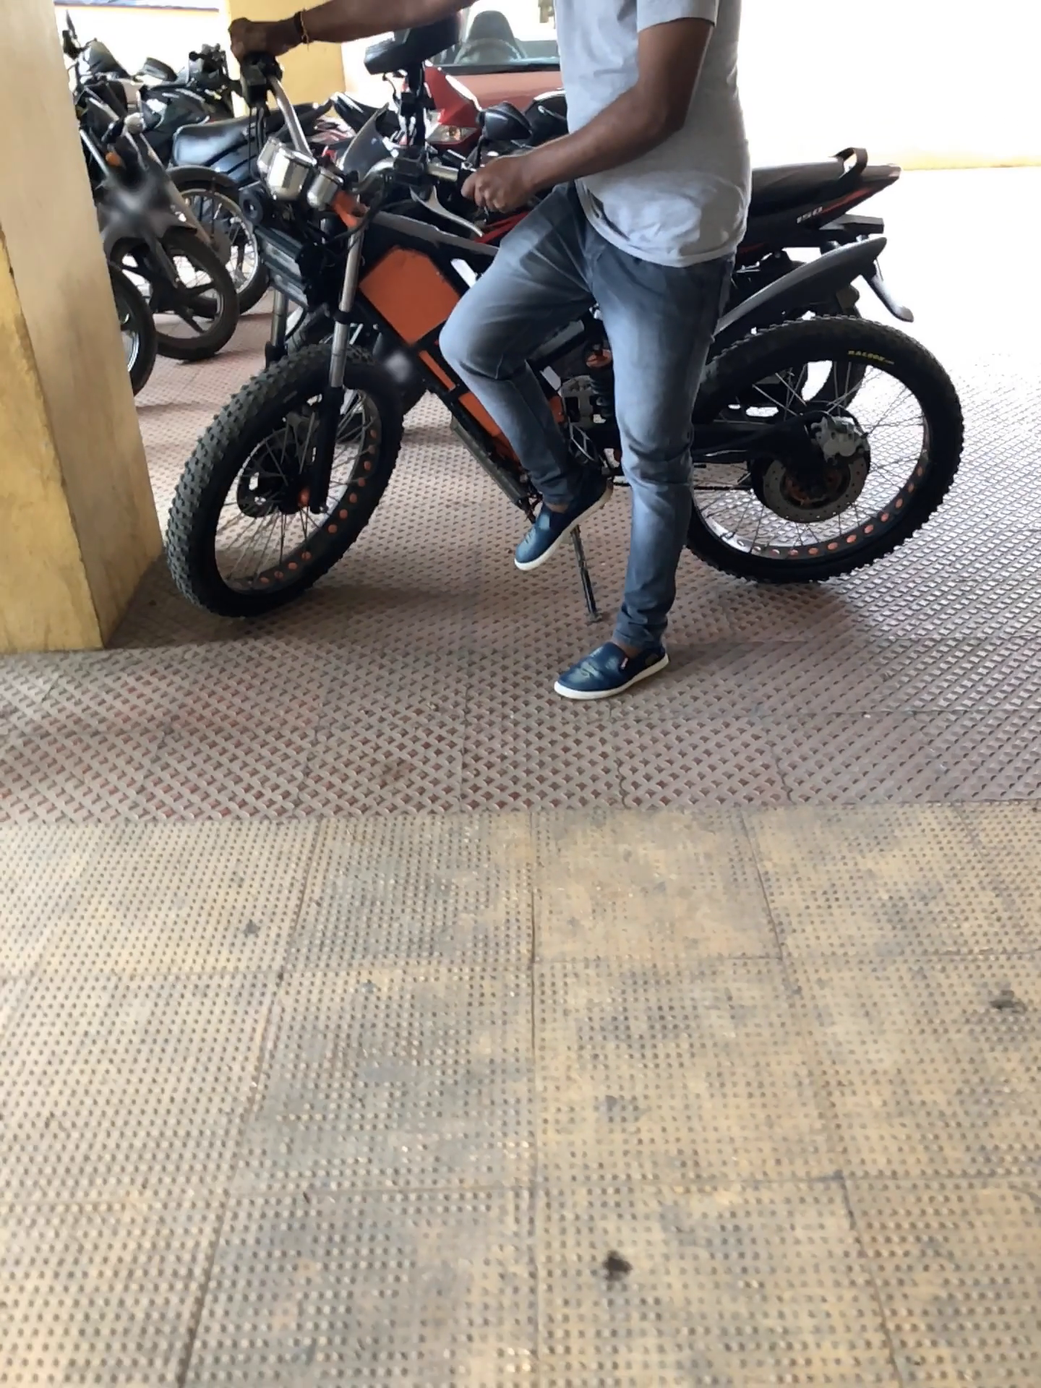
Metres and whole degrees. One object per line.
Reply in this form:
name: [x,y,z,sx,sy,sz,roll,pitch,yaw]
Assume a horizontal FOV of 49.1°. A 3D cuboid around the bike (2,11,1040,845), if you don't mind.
bike: [0.105,-0.563,2.316,1.747,1.185,0.759,-8,31,-3]
